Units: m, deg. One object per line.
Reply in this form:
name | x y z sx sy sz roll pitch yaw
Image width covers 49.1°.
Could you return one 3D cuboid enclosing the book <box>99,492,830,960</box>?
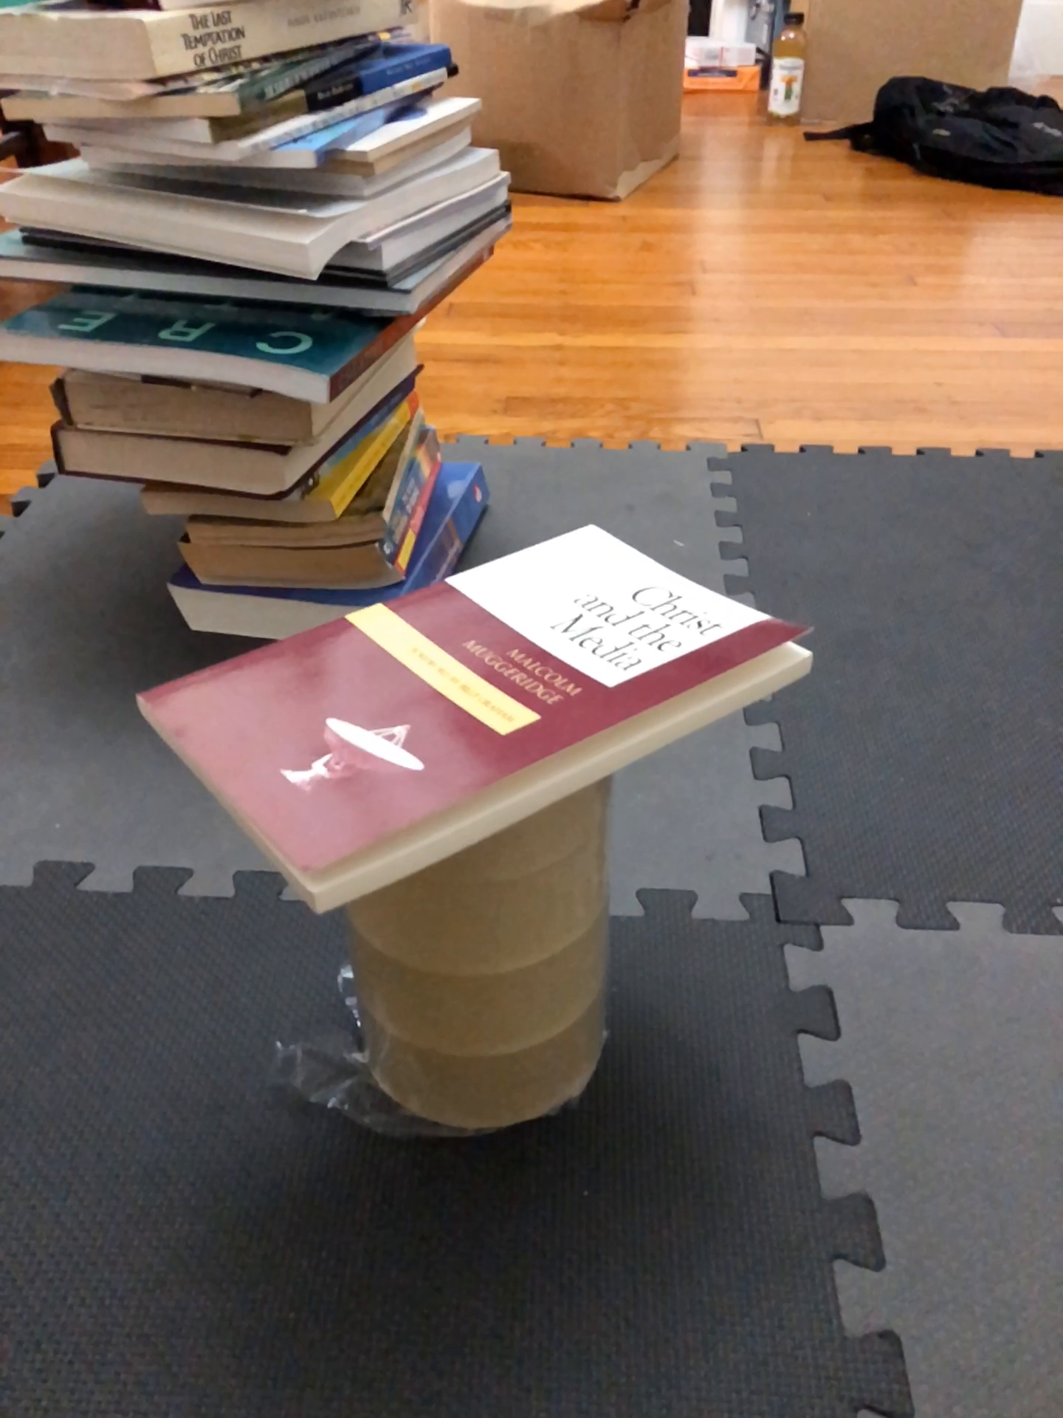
book | -0.021 -0.012 0.407 0.211 0.020 0.140 -26 43 -30
